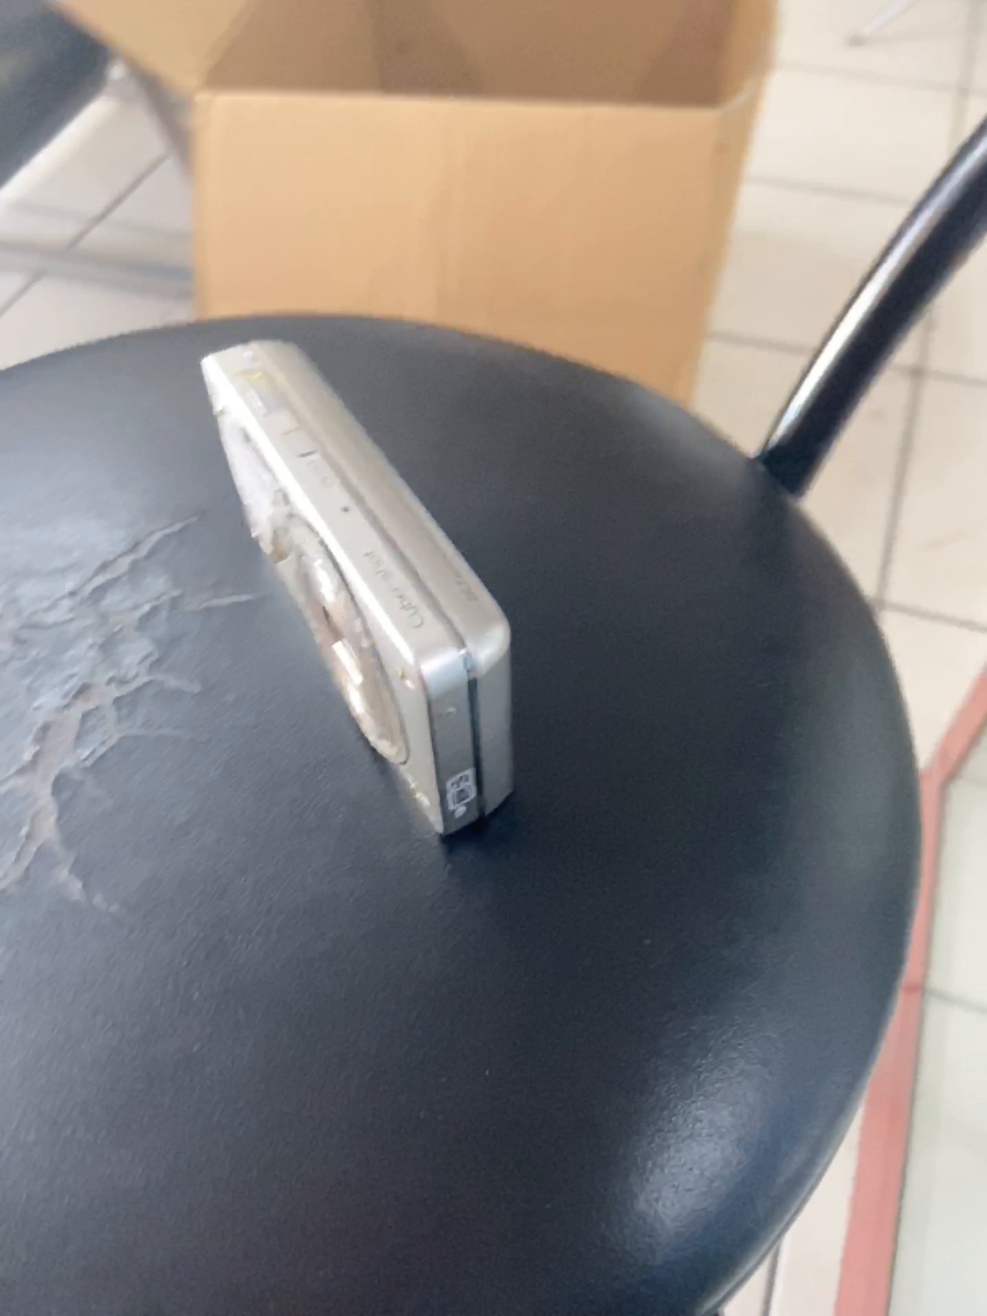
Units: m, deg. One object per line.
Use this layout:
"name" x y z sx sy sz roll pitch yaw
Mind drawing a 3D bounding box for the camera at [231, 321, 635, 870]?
"camera" -0.013 -0.014 0.181 0.022 0.042 0.093 -26 57 -17
